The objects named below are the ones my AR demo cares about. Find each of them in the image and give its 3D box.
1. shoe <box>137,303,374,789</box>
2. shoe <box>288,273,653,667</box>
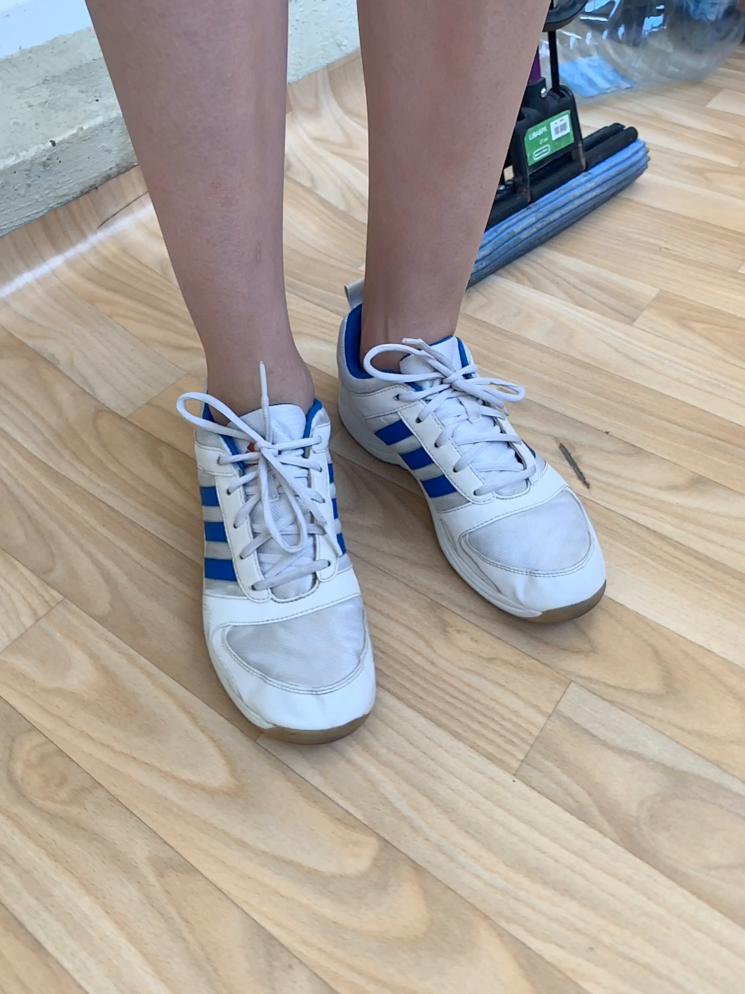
[{"bbox_3d":[-0.076,0.014,0.459,0.100,0.120,0.261,-9,48,-8],"label":"shoe"},{"bbox_3d":[0.046,-0.033,0.509,0.100,0.090,0.261,-22,51,-18],"label":"shoe"}]
